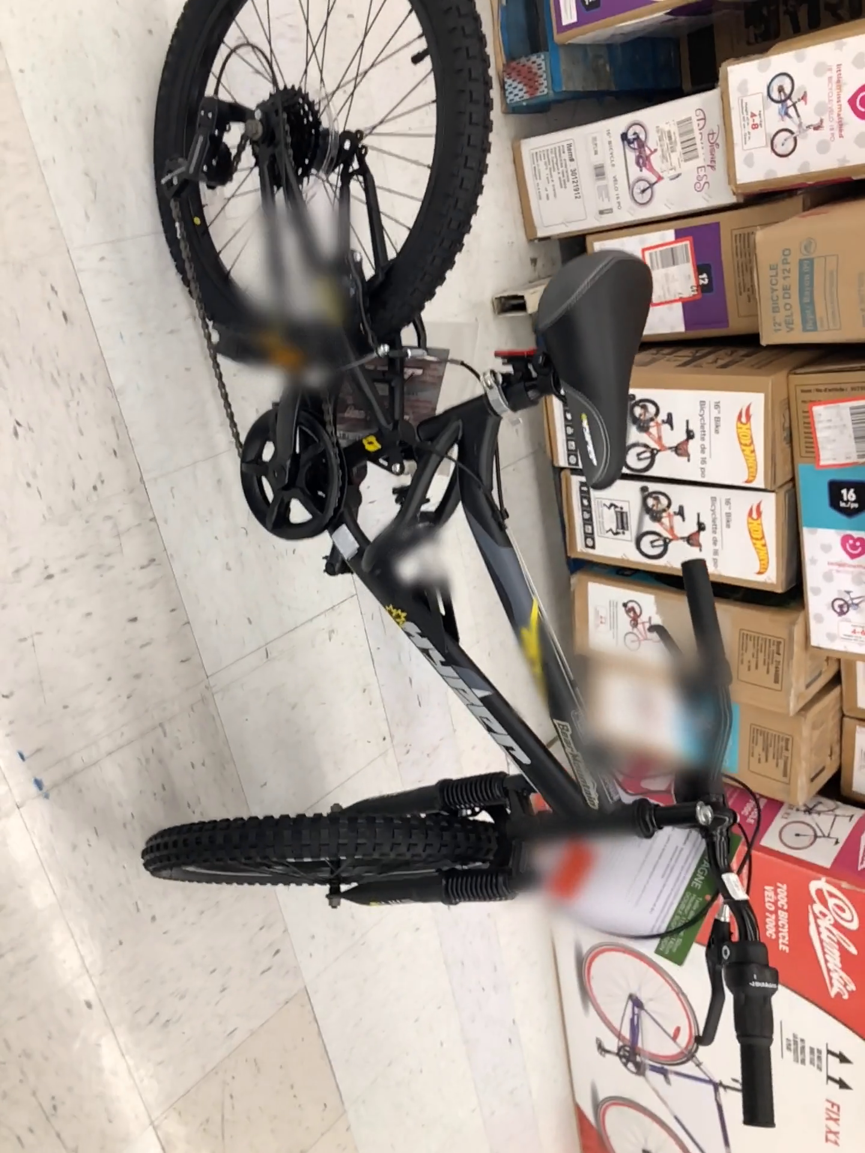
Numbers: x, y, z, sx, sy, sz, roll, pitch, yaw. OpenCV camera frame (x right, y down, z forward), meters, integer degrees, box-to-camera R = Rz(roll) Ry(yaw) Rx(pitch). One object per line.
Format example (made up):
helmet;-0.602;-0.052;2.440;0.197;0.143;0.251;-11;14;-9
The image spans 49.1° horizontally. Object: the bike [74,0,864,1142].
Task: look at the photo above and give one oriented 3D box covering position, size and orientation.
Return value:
bike;0.202;-0.136;1.198;0.525;0.849;1.260;-24;111;-42
